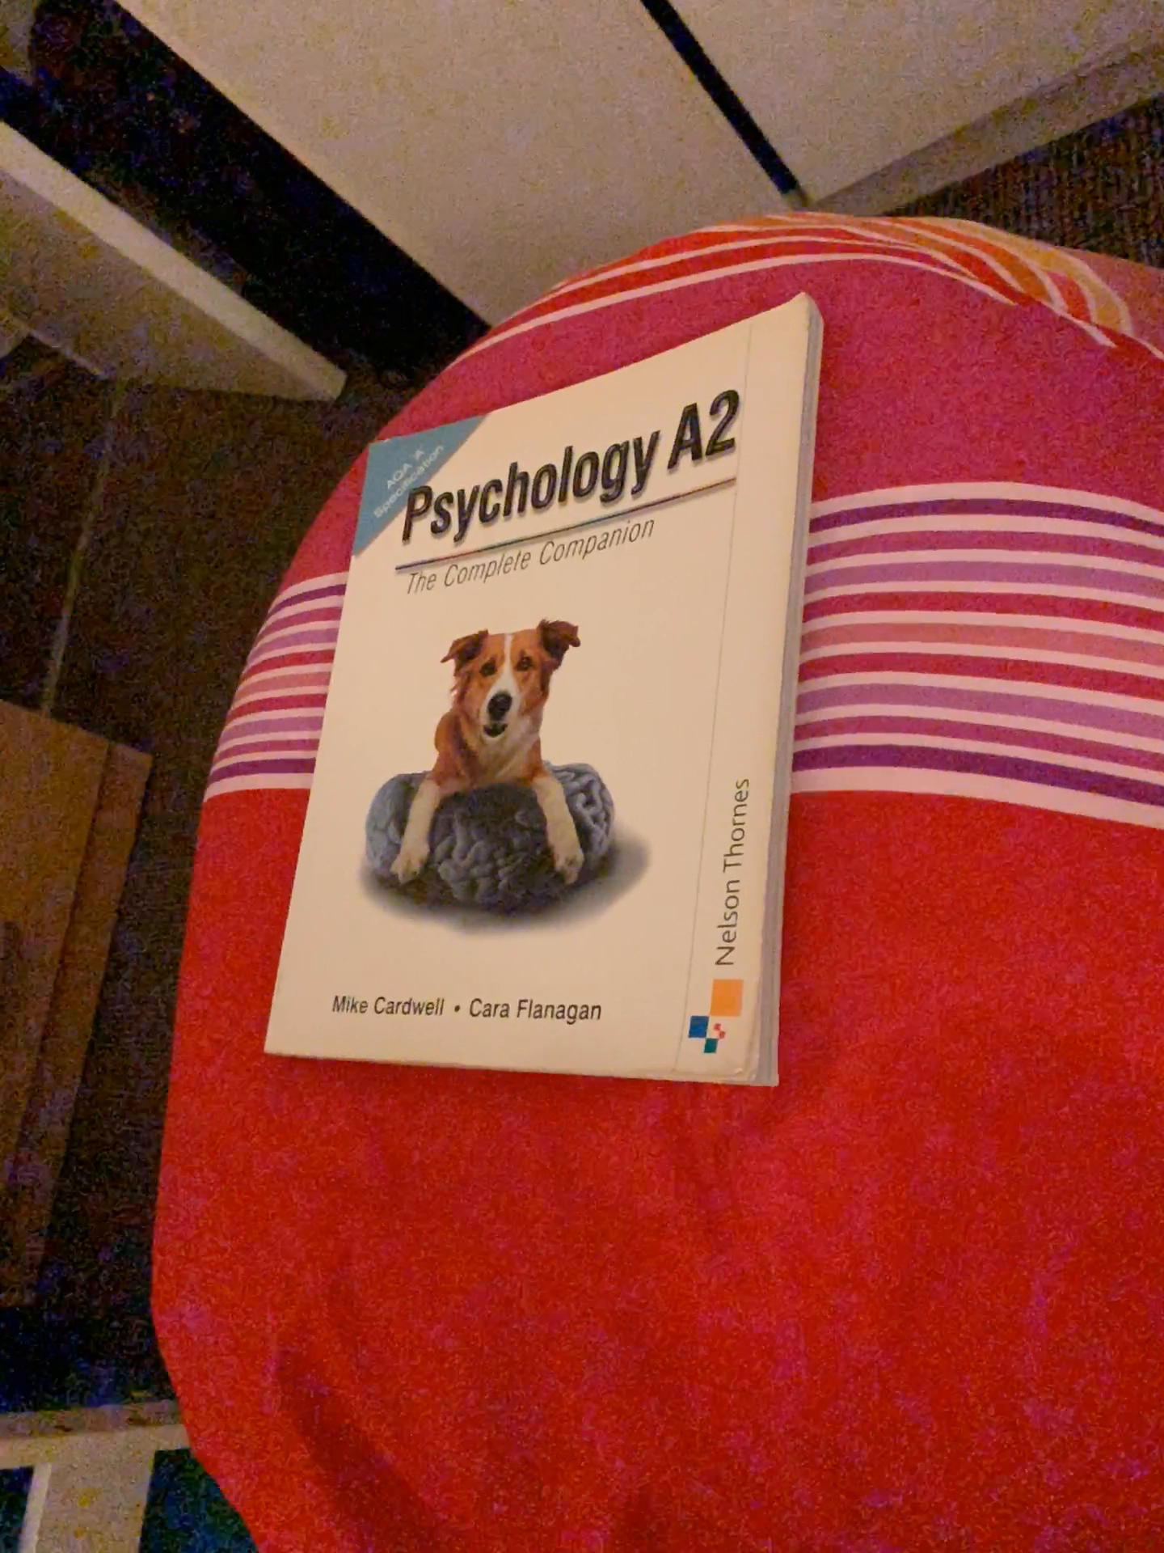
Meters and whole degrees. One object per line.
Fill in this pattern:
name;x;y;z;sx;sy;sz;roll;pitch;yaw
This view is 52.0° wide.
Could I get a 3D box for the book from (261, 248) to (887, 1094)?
book;-0.006;-0.034;0.469;0.241;0.040;0.291;-8;66;37
